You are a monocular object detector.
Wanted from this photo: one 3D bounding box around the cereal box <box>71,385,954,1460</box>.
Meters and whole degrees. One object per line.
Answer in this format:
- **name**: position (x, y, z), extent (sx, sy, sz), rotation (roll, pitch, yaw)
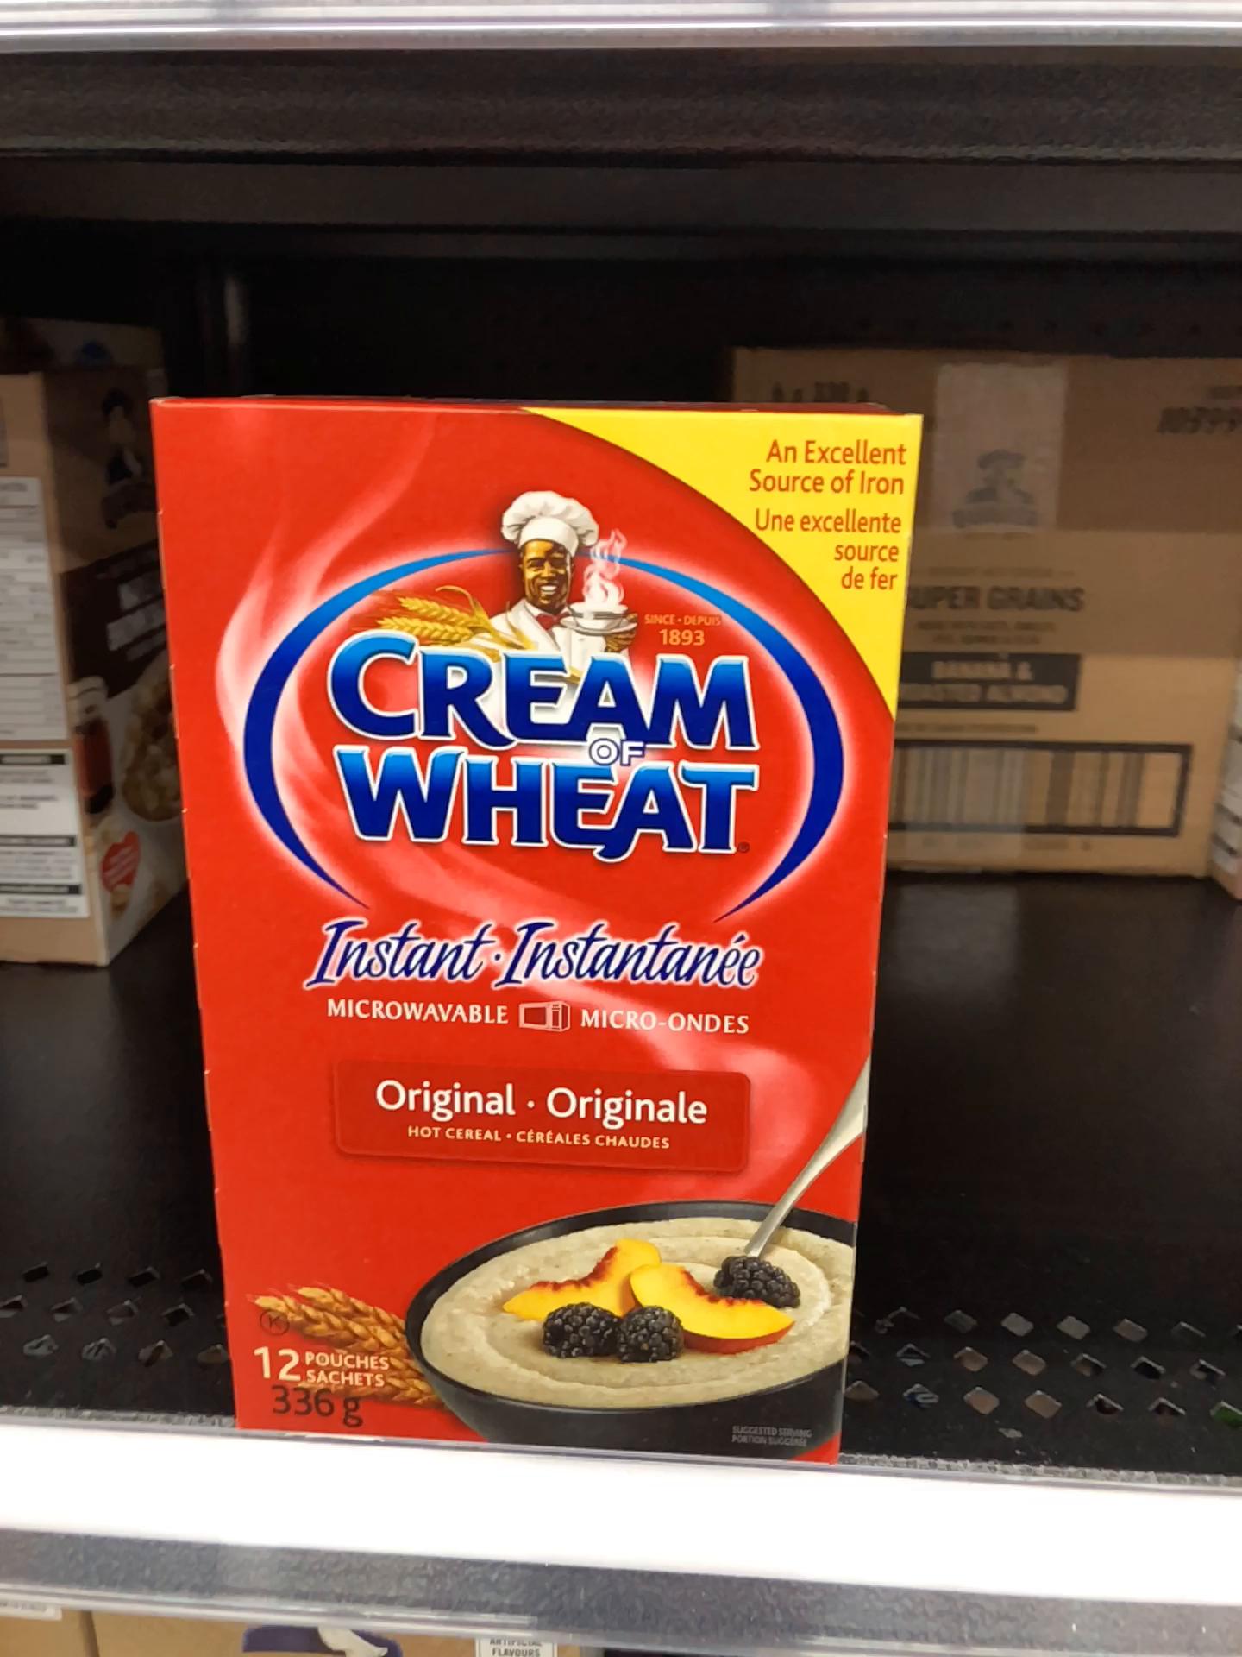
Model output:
- **cereal box**: position (-0.016, 0.017, 0.261), extent (0.130, 0.189, 0.060), rotation (2, 19, 3)
